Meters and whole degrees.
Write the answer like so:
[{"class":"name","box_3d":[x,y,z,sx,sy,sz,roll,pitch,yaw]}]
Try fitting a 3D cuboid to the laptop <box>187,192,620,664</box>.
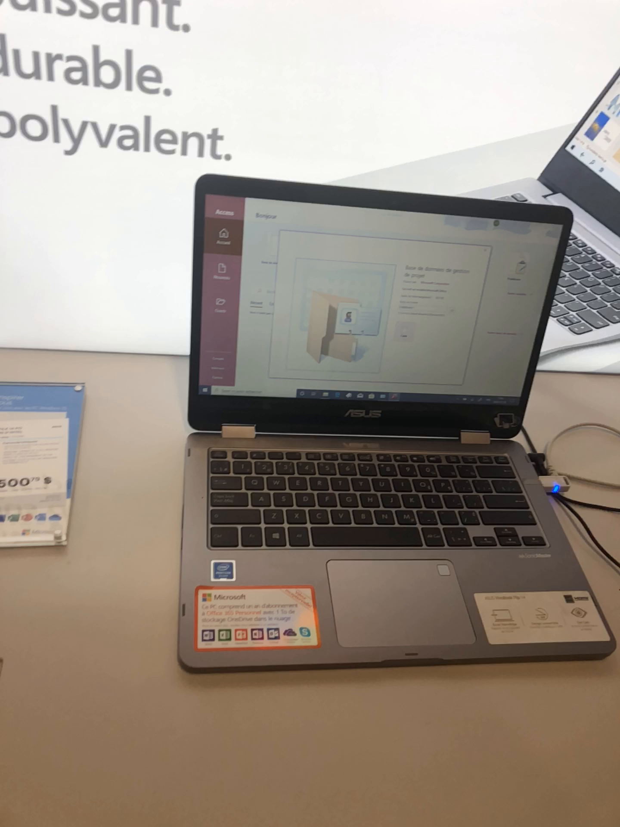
[{"class":"laptop","box_3d":[0.073,0.002,0.516,0.311,0.214,0.274,2,40,-11]}]
